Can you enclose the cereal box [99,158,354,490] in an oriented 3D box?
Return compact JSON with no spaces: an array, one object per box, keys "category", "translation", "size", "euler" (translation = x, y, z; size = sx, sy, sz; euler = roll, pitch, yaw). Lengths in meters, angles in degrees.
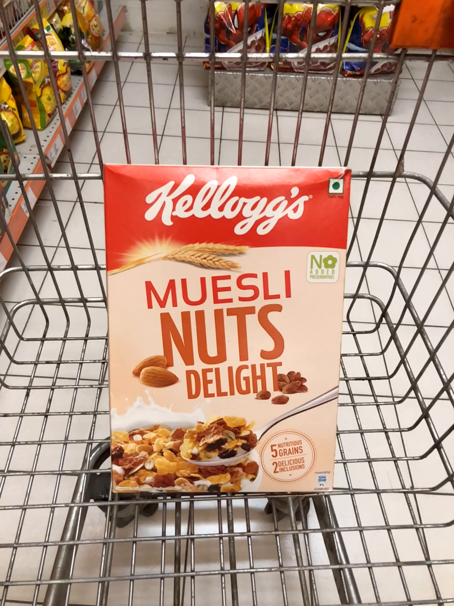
[{"category":"cereal box","translation":[-0.003,0.017,0.408],"size":[0.180,0.250,0.070],"euler":[1,9,-2]}]
